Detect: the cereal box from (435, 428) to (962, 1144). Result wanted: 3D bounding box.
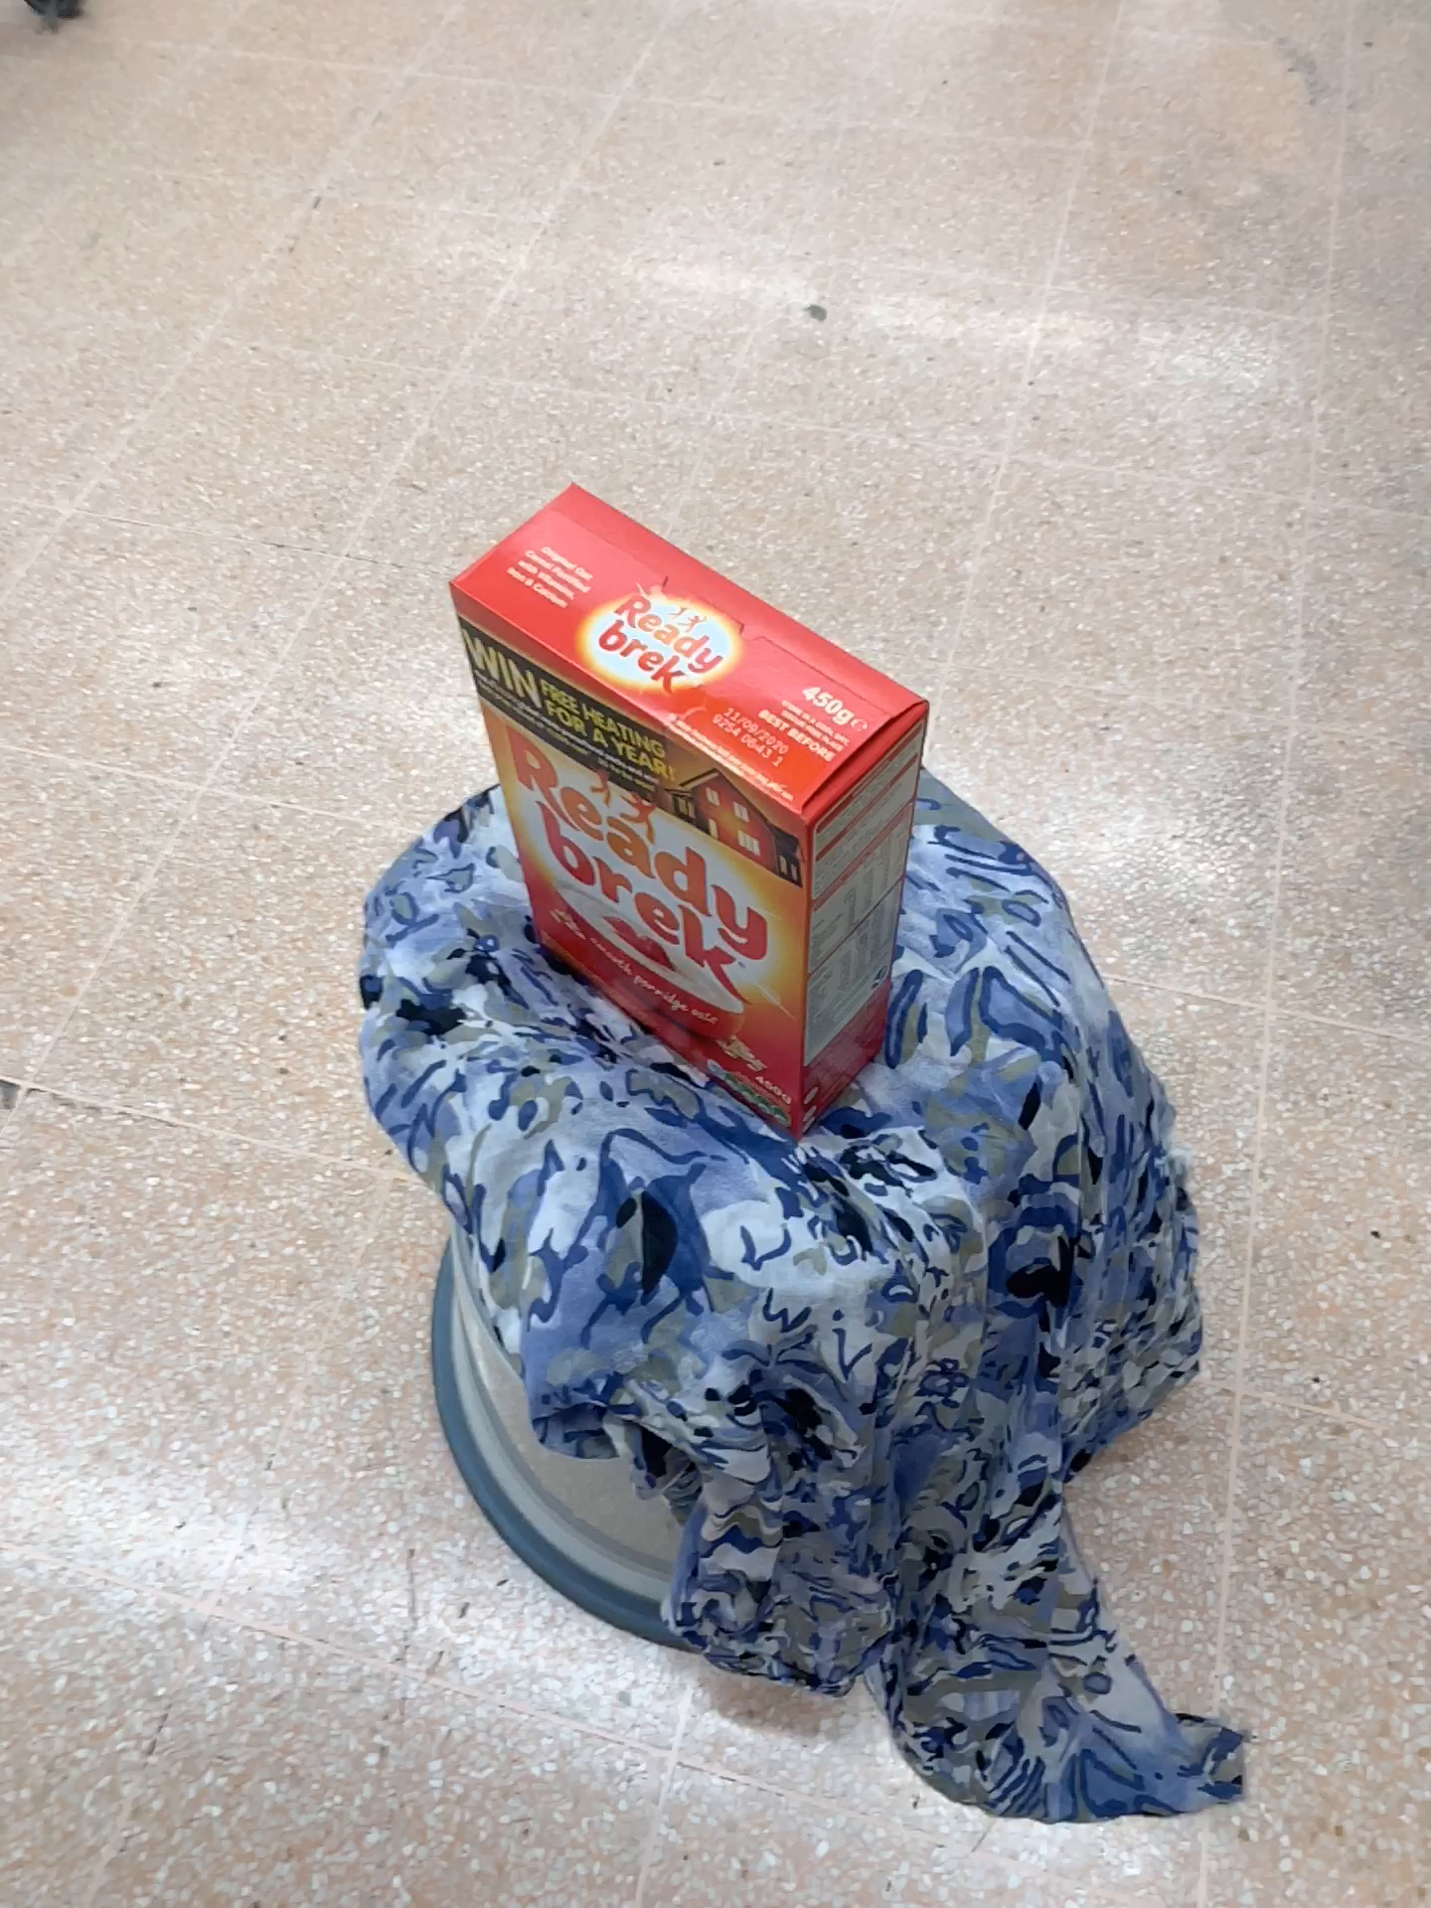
[{"bbox_3d":[-0.005,-0.051,0.559,0.171,0.238,0.060,37,66,23],"label":"cereal box"}]
